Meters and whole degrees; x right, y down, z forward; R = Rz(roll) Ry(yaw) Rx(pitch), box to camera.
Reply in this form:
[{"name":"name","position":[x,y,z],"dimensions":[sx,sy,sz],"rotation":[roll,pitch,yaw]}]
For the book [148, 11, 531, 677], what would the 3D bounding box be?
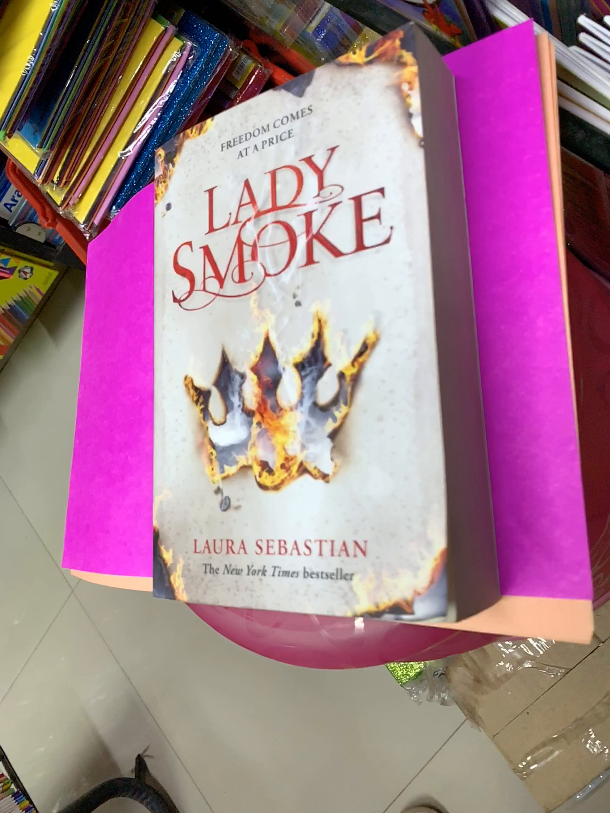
[{"name":"book","position":[0.006,-0.017,0.241],"dimensions":[0.130,0.050,0.200],"rotation":[-6,84,32]}]
